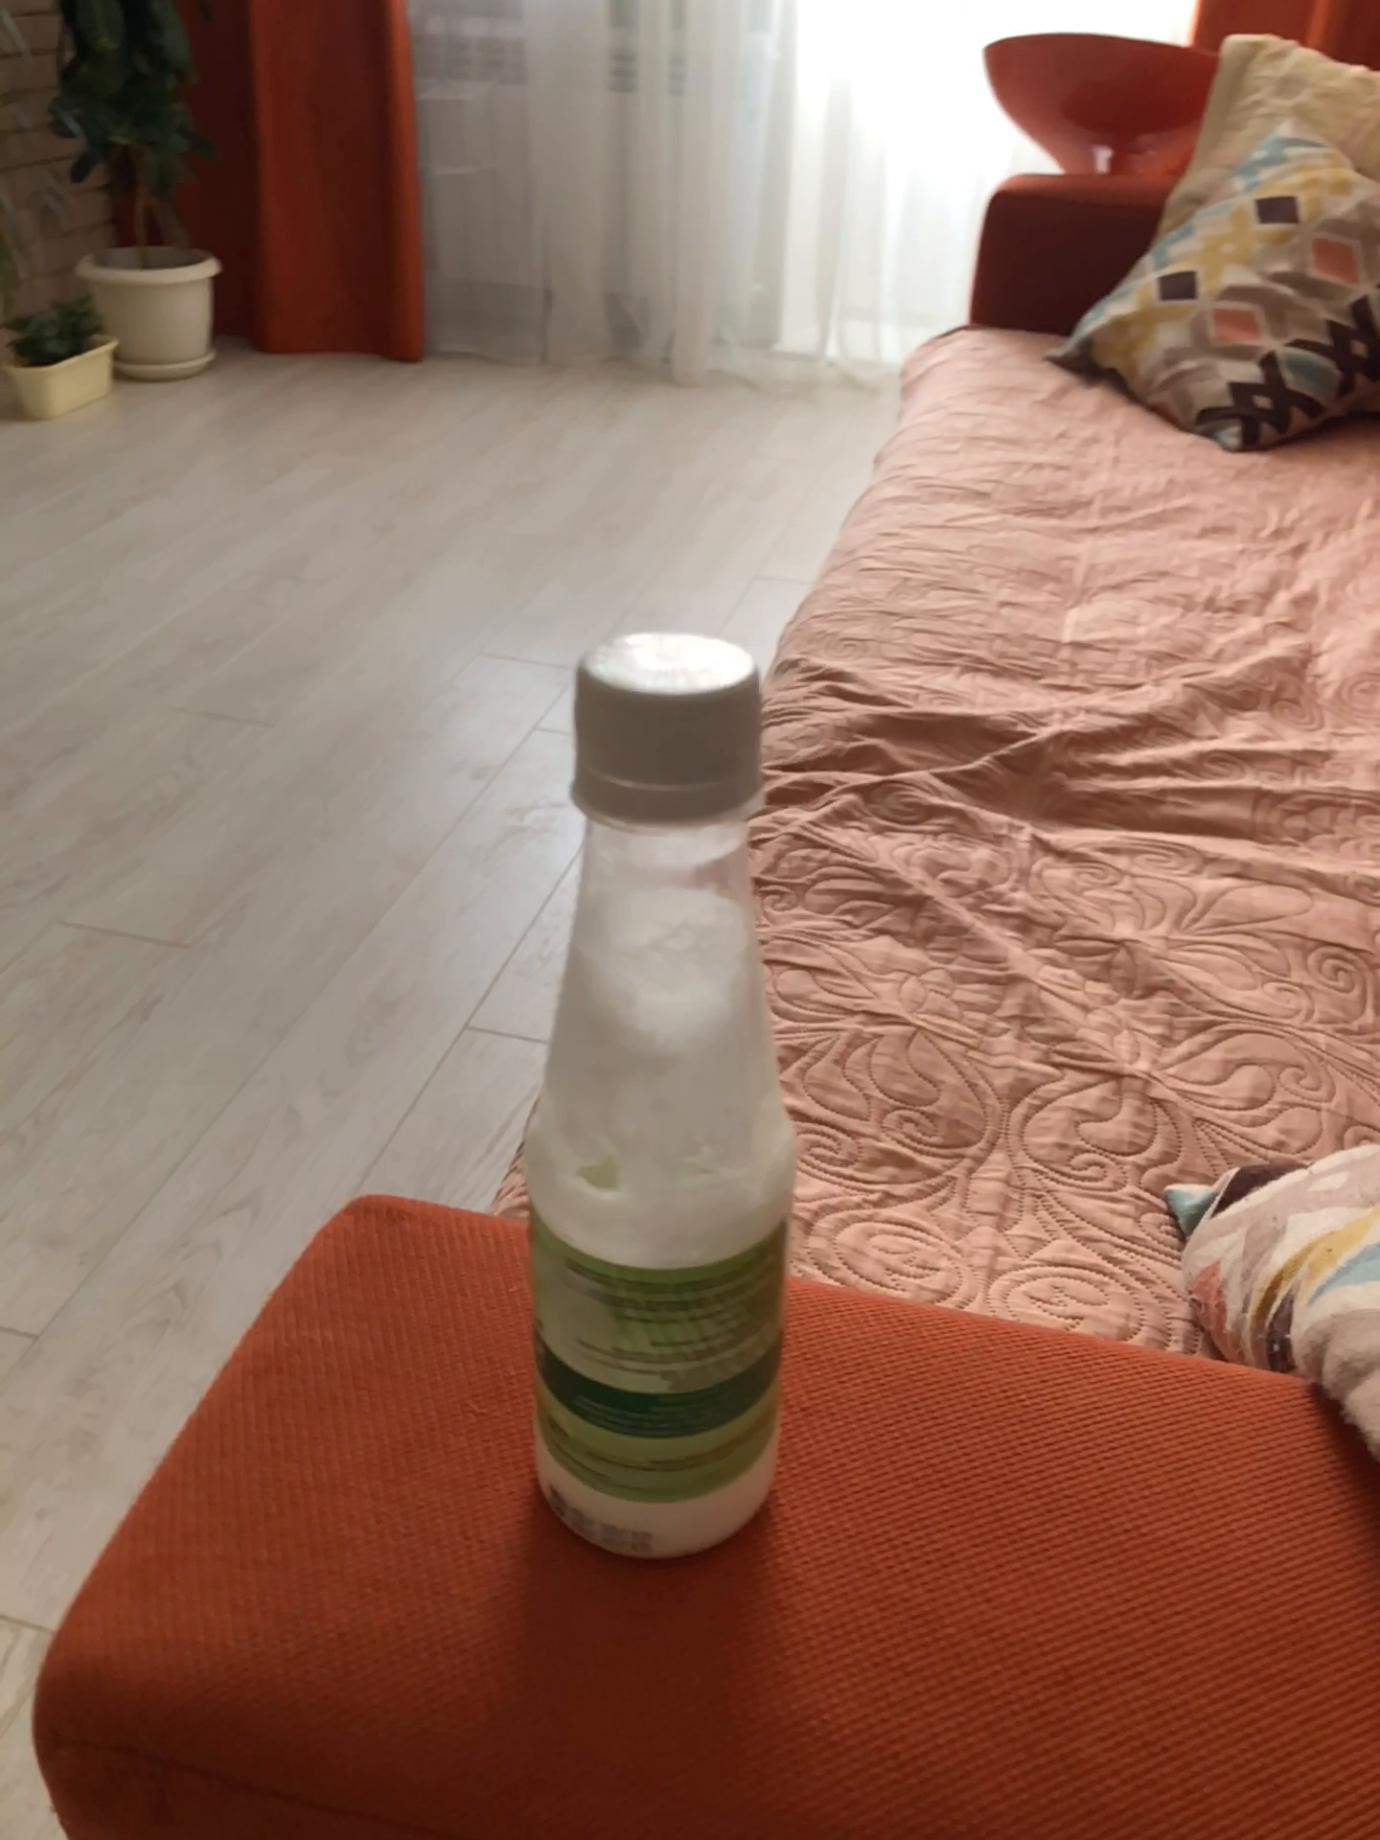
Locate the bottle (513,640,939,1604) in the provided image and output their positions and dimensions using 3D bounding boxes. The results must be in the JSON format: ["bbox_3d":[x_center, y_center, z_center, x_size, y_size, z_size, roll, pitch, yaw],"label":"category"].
[{"bbox_3d":[0.005,0.045,0.286,0.060,0.179,0.060,2,33,-1],"label":"bottle"}]
